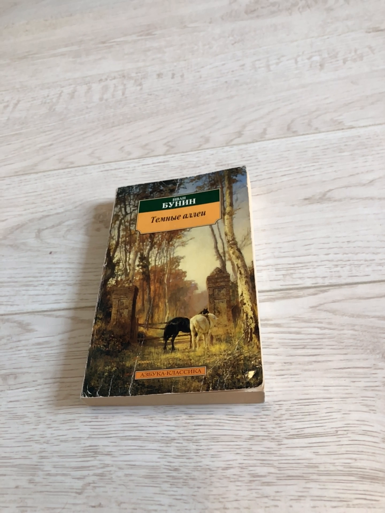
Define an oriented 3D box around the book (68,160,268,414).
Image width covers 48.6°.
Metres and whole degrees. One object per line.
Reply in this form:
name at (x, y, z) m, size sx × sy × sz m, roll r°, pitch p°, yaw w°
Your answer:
book at (-0.013, 0.012, 0.296) m, size 0.112 × 0.024 × 0.177 m, roll -7°, pitch 54°, yaw 11°
